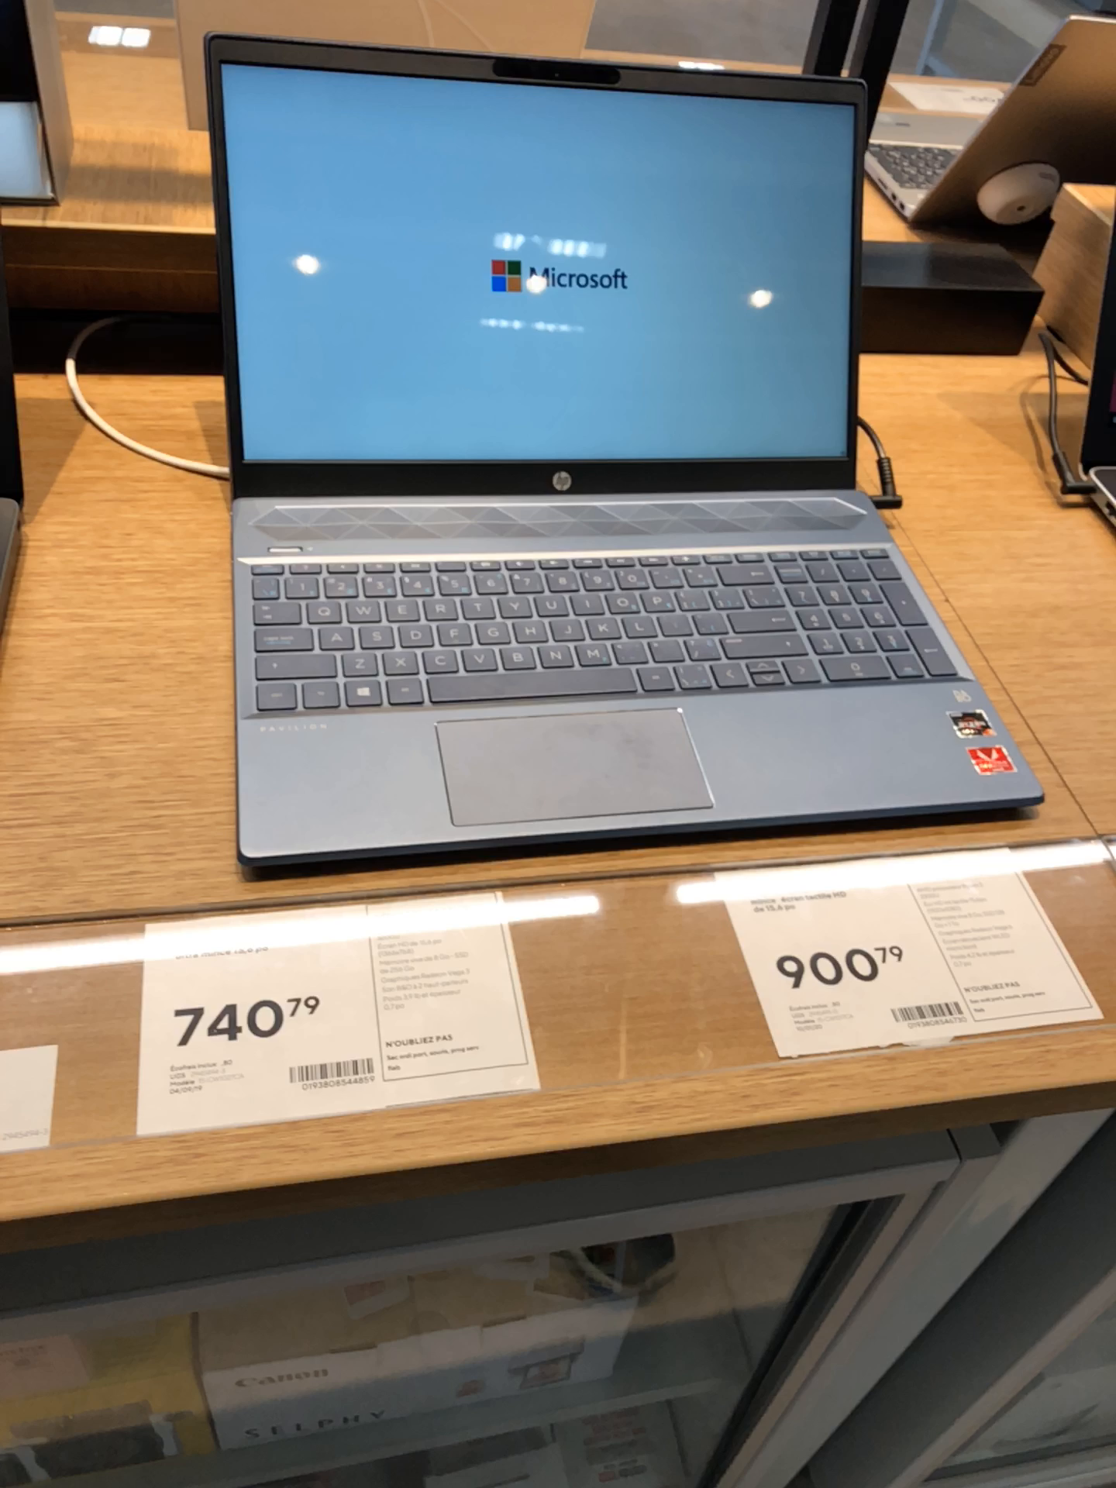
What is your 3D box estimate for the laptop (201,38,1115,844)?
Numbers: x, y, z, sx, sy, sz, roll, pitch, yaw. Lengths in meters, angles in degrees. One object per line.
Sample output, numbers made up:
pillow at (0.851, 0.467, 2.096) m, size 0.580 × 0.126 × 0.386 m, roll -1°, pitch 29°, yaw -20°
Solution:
laptop at (0.017, -0.160, 0.579) m, size 0.338 × 0.185 × 0.357 m, roll -3°, pitch 45°, yaw -14°
